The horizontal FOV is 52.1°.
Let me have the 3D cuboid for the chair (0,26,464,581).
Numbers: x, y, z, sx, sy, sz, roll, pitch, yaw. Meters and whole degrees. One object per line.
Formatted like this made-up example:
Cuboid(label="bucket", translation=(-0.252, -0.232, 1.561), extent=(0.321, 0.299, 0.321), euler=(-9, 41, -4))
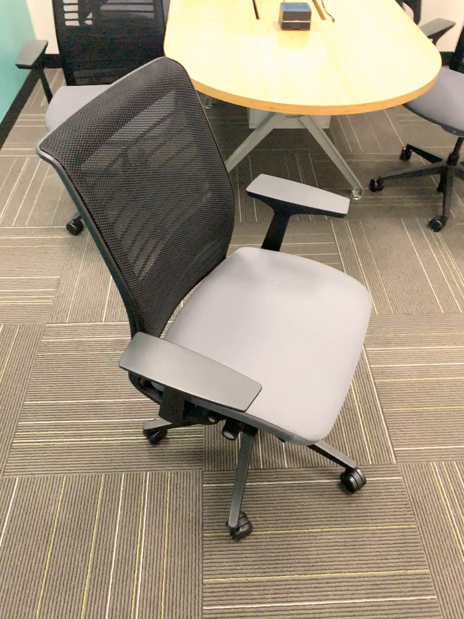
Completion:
Cuboid(label="chair", translation=(0.026, 0.030, 1.138), extent=(0.691, 0.995, 0.652), euler=(20, 51, 17))
